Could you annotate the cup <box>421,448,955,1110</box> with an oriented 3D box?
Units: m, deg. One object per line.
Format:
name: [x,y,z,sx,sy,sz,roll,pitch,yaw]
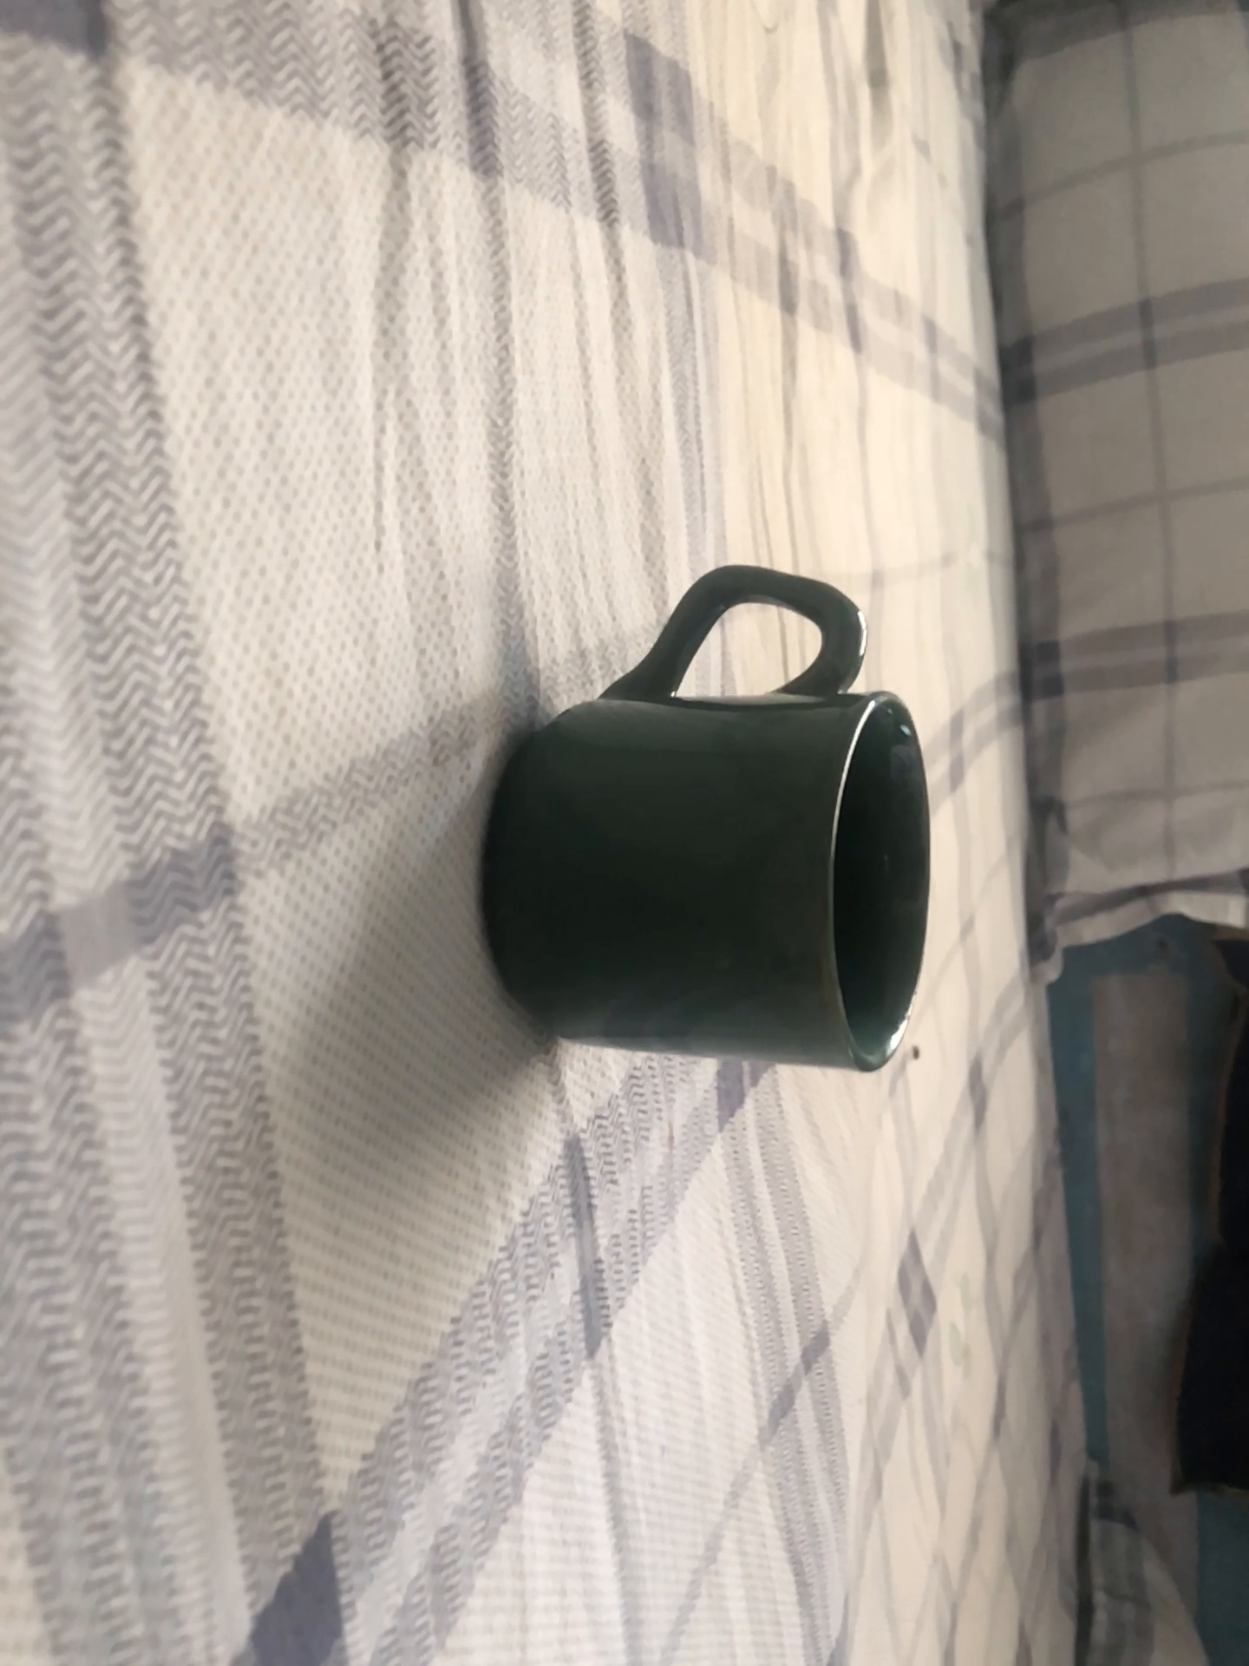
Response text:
cup: [0.018,-0.006,0.232,0.070,0.060,0.080,59,36,-51]
